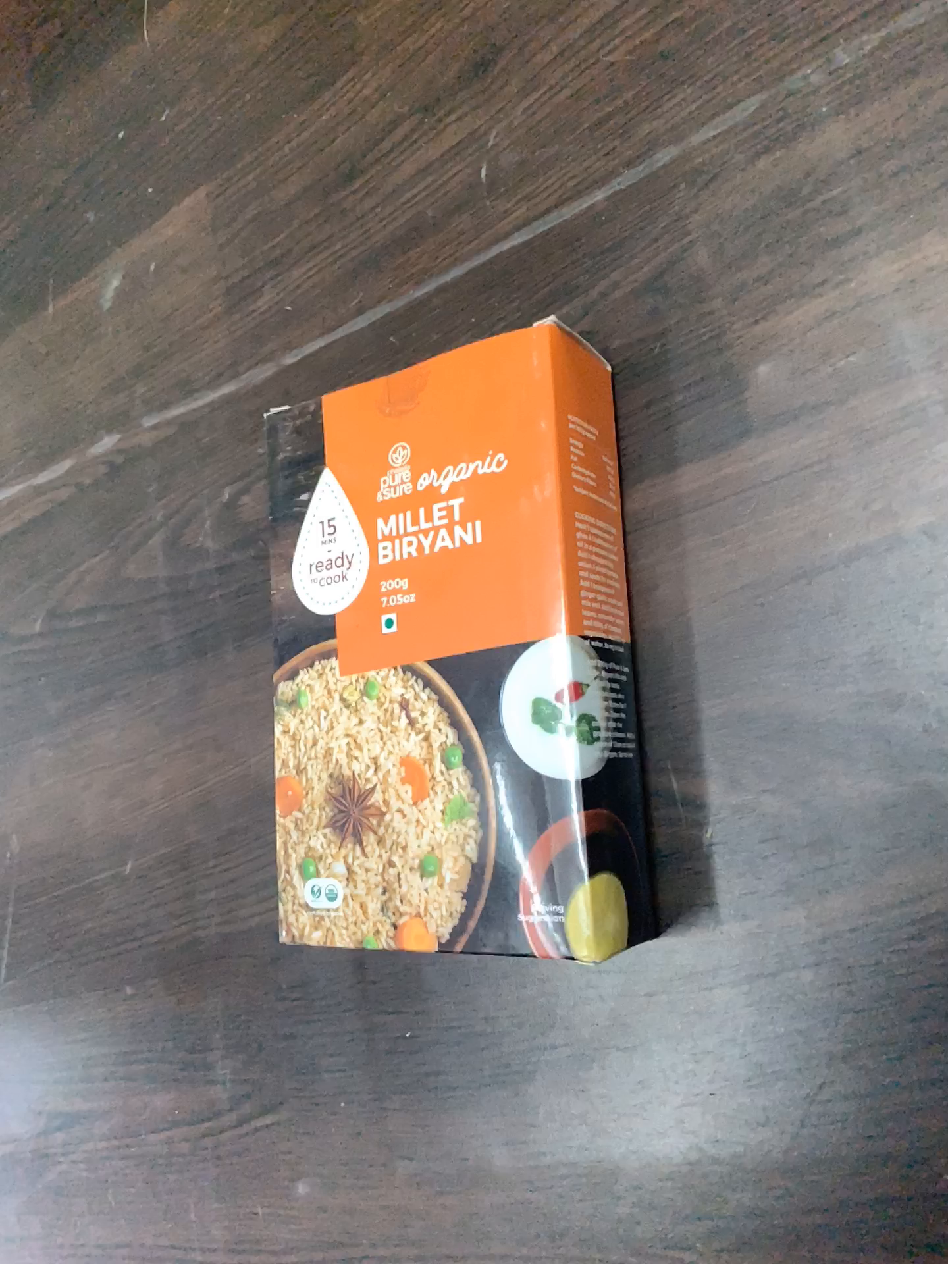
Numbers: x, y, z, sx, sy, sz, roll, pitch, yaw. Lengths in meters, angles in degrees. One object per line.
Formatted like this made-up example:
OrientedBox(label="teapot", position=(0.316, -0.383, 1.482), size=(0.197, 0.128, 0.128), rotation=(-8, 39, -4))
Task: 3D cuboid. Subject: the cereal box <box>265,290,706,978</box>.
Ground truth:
OrientedBox(label="cereal box", position=(-0.001, 0.005, 0.288), size=(0.110, 0.050, 0.170), rotation=(-8, 81, 30))
